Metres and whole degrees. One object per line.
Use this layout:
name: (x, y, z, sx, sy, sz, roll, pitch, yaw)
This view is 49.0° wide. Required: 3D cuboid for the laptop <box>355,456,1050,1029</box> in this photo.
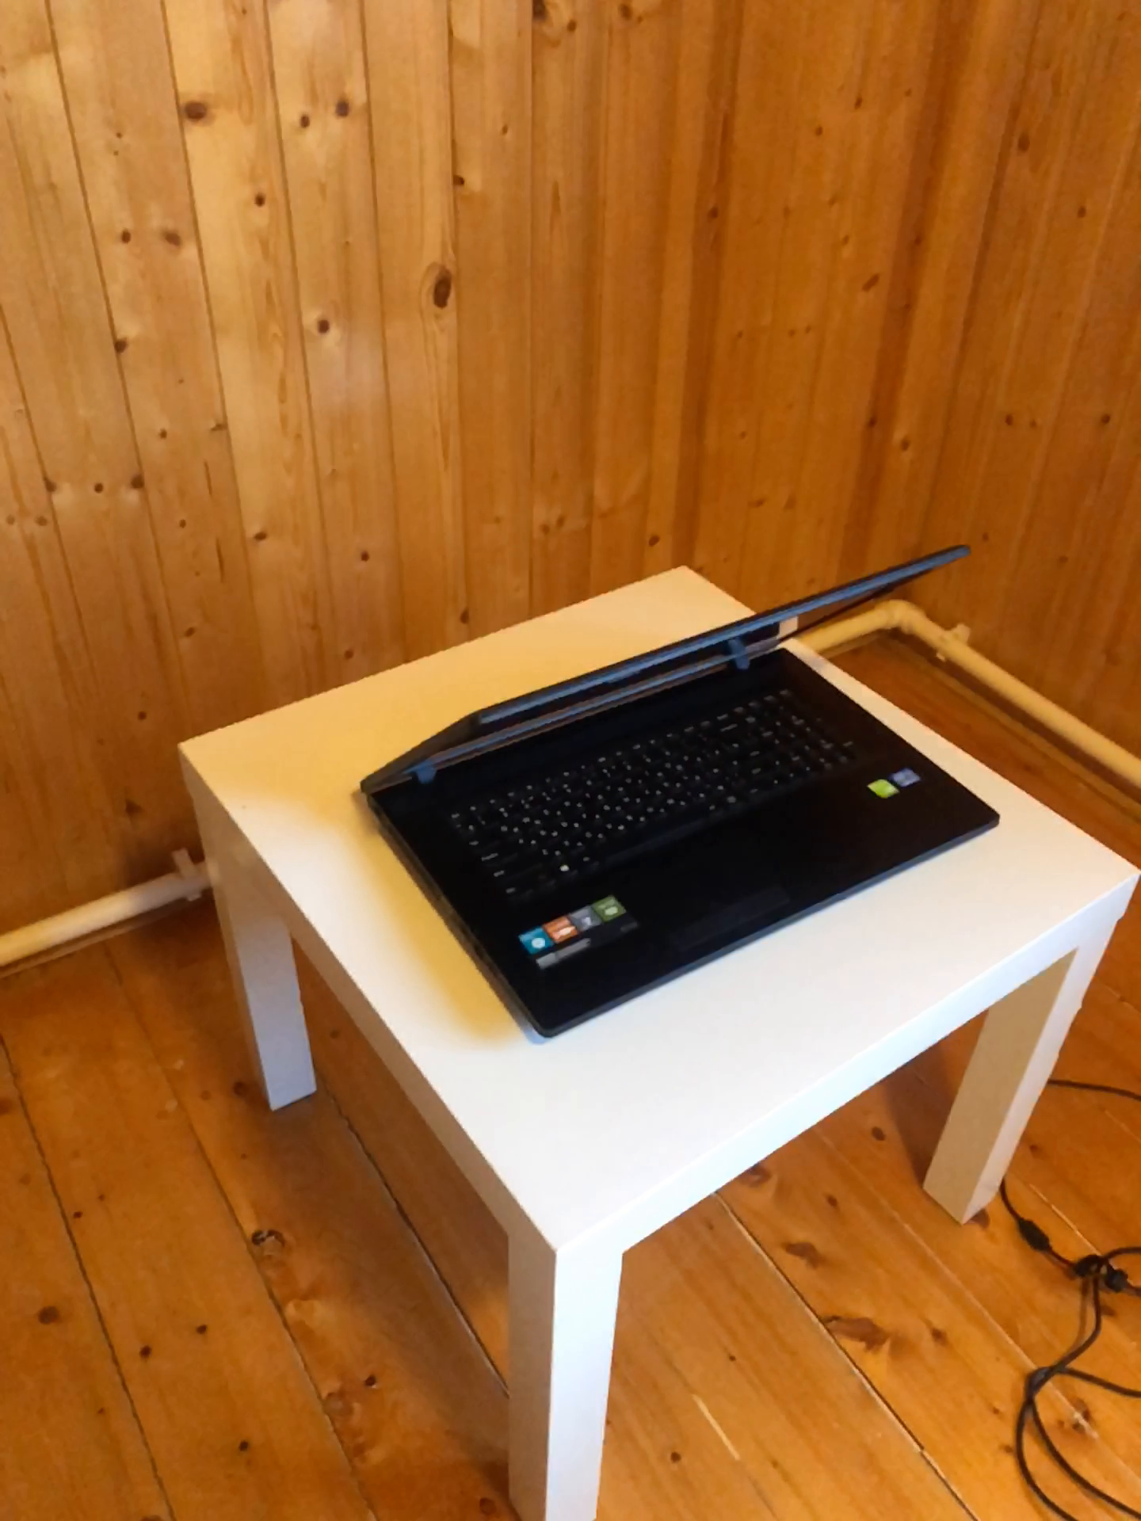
laptop: (0.090, -0.040, 0.888, 0.402, 0.183, 0.252, -20, 44, -28)
